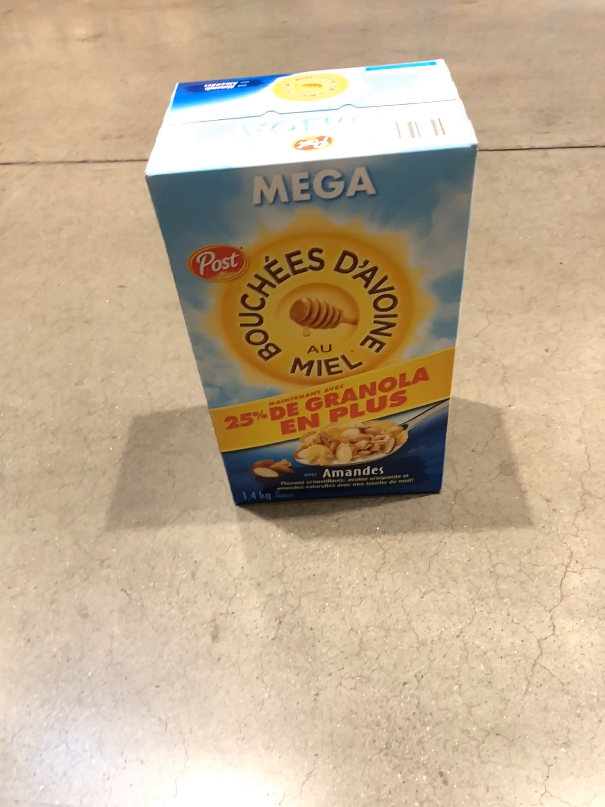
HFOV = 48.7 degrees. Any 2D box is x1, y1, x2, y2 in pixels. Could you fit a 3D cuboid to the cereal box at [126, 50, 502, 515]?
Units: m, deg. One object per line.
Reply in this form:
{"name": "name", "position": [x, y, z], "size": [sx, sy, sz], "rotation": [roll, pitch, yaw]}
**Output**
{"name": "cereal box", "position": [0.018, -0.074, 0.541], "size": [0.210, 0.329, 0.151], "rotation": [-4, 45, 3]}
